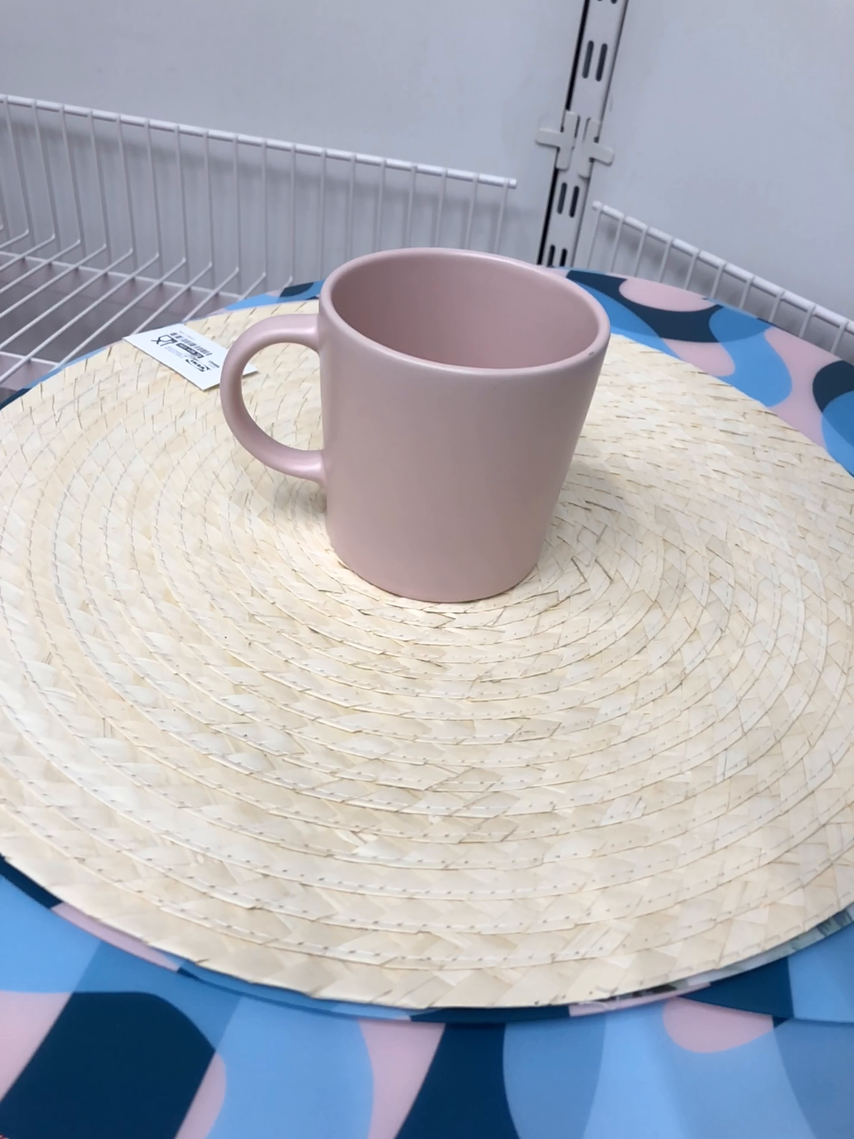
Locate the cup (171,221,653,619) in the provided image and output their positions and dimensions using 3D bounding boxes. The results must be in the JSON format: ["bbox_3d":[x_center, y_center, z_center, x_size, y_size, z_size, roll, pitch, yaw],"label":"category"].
[{"bbox_3d":[-0.012,-0.051,0.320,0.130,0.090,0.100,1,37,-9],"label":"cup"}]
